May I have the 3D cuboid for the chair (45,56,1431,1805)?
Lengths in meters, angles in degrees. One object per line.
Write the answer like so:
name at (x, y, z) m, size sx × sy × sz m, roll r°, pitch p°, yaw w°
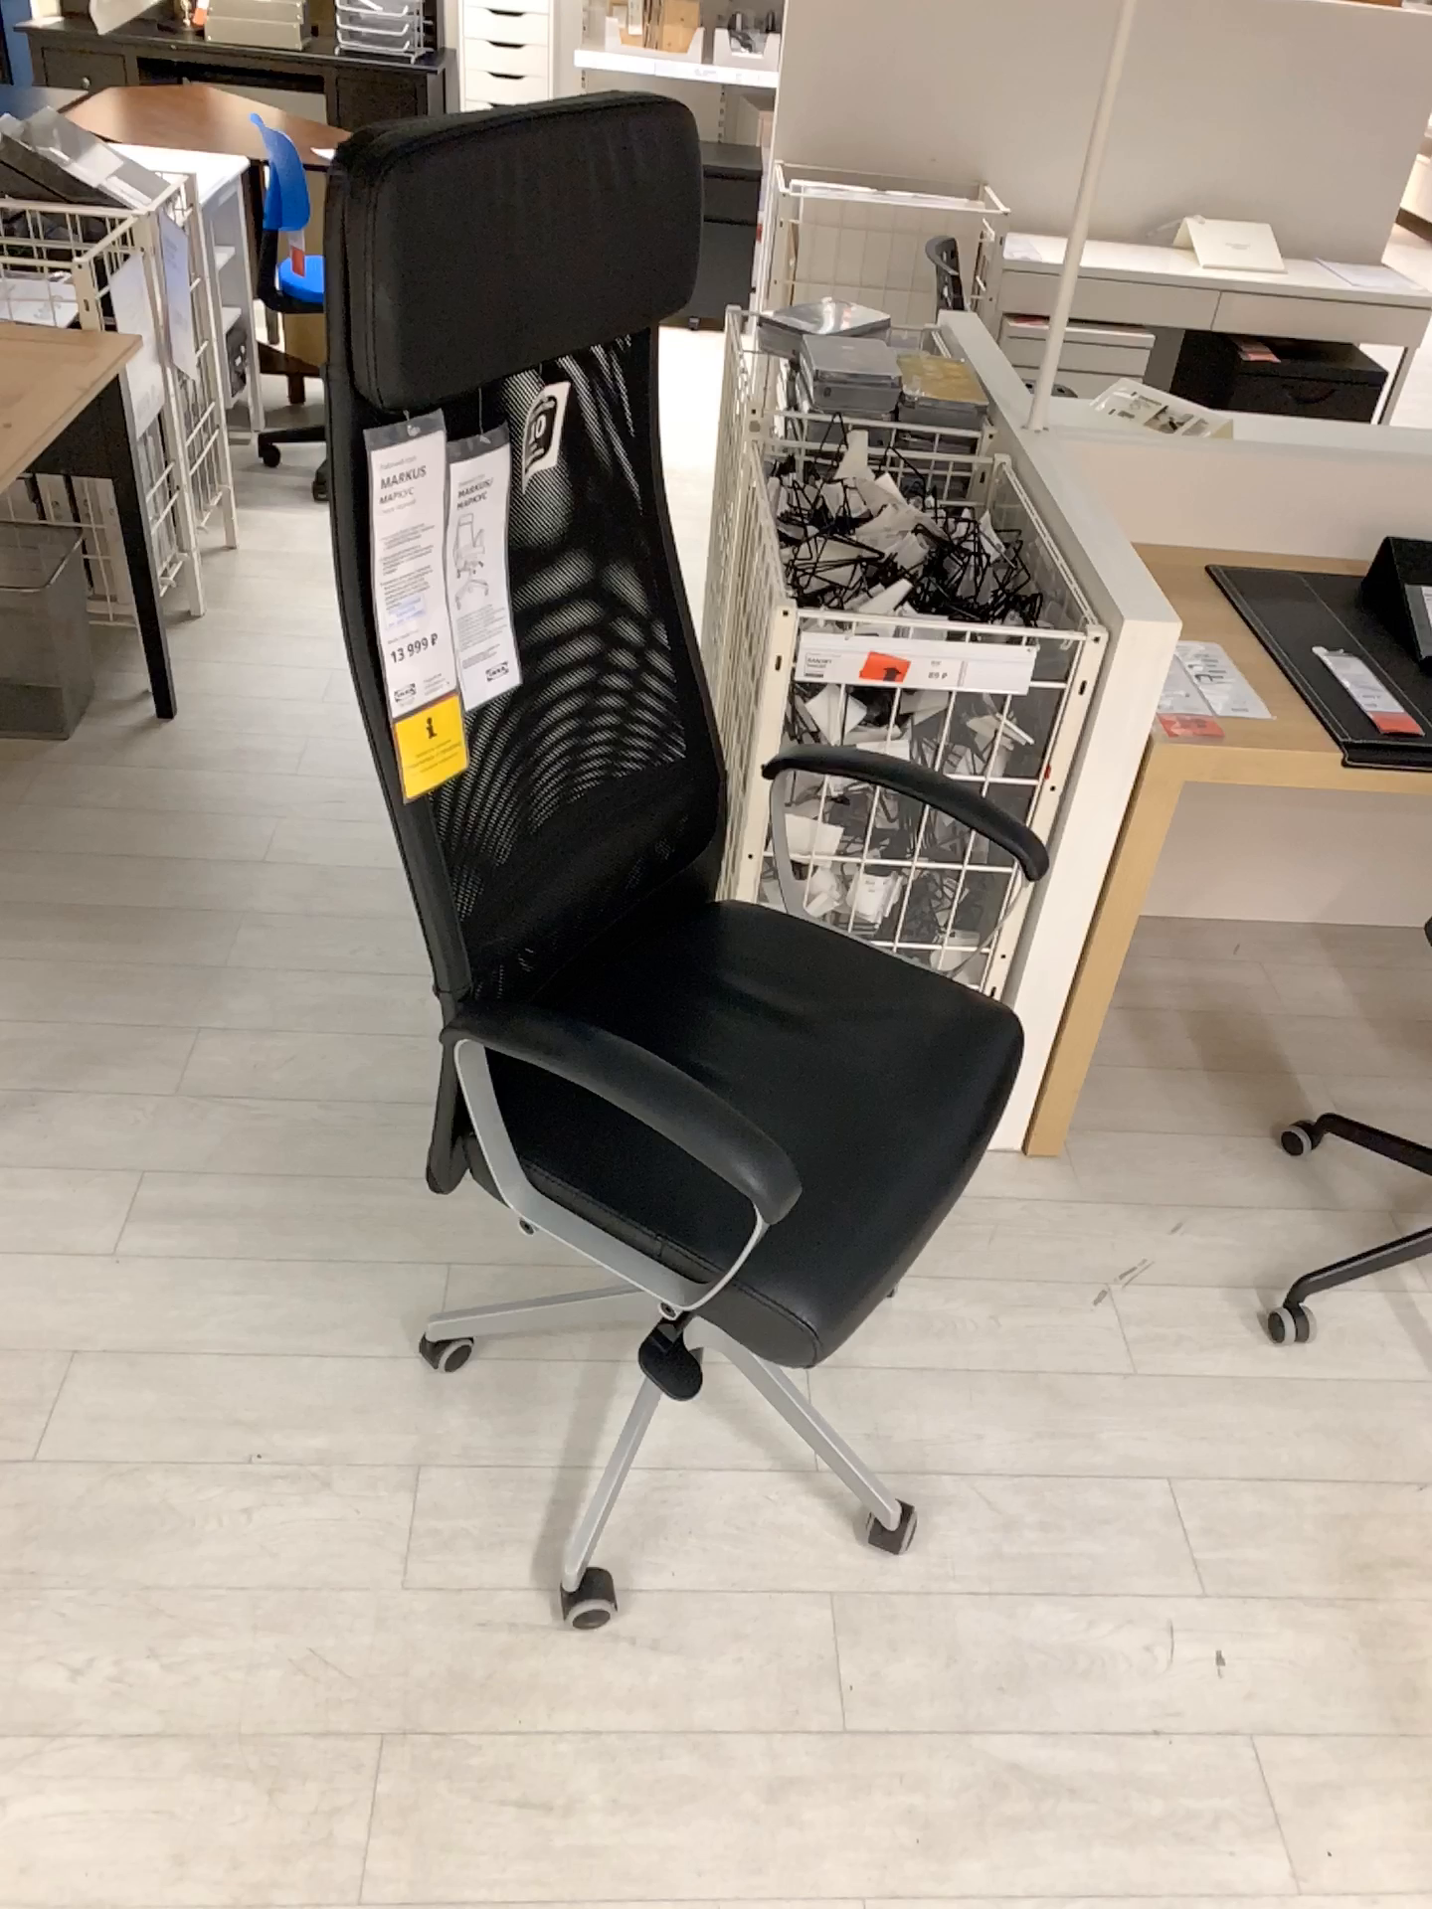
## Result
chair at (0.031, -0.020, 1.362) m, size 0.679 × 1.293 × 0.725 m, roll 22°, pitch 39°, yaw 20°
